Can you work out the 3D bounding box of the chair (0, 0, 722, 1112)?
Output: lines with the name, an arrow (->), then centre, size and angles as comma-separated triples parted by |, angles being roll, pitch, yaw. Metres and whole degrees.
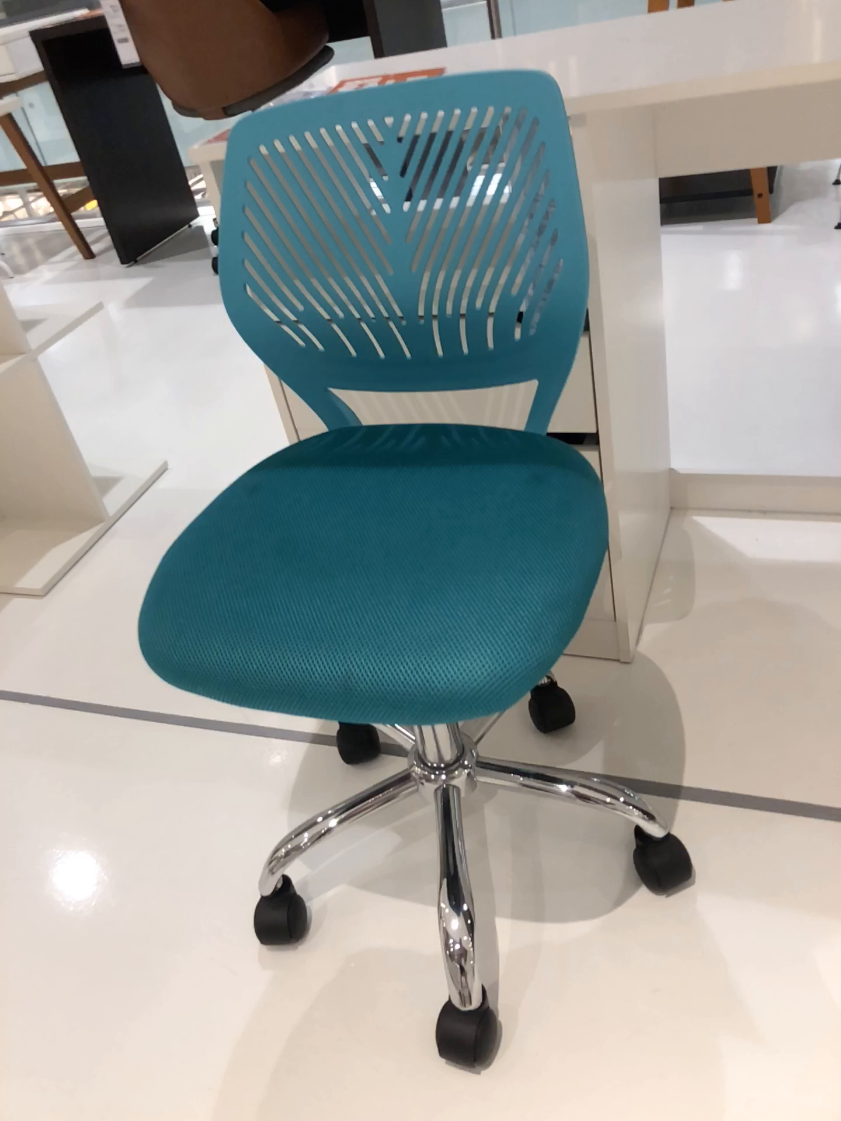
chair -> -0.014, -0.004, 0.818 | 0.501, 0.724, 0.503 | 1, 37, 21
